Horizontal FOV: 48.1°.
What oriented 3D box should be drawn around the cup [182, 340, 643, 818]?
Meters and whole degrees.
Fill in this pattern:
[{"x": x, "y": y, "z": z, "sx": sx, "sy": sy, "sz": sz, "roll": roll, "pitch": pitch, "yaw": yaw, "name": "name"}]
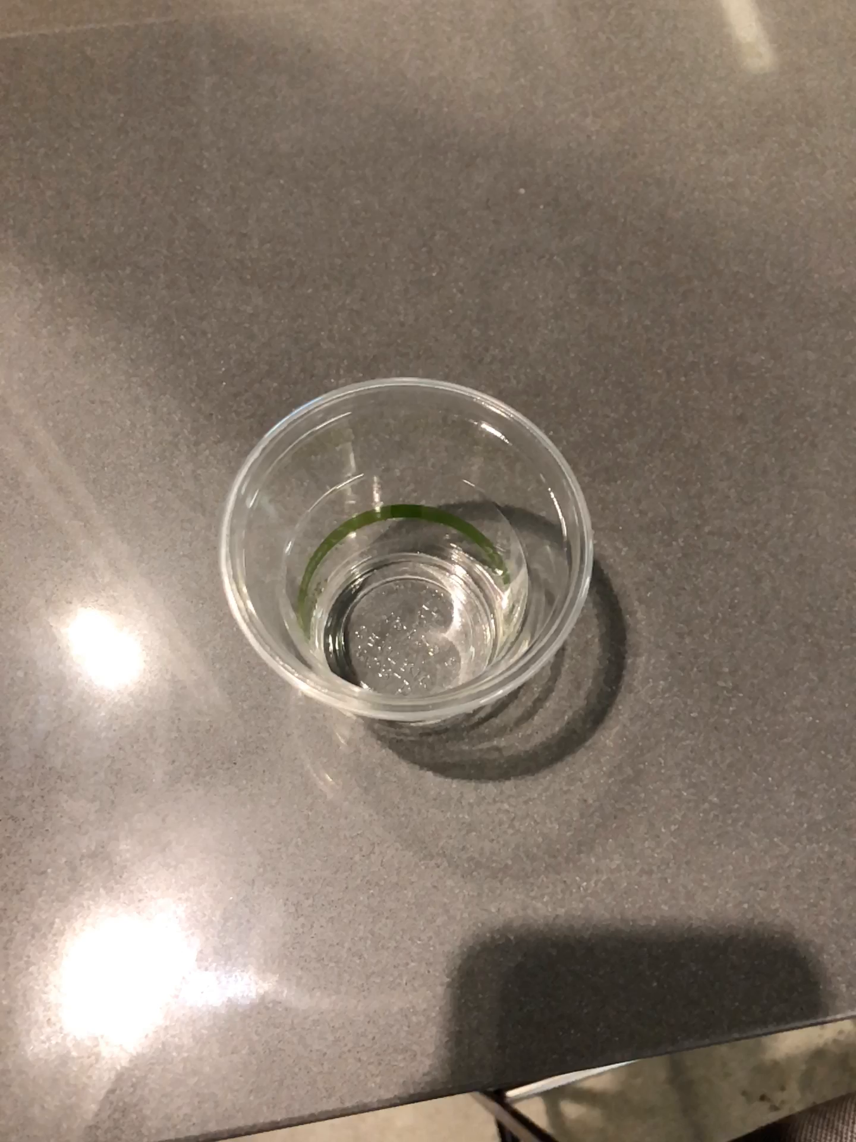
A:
[{"x": -0.001, "y": 0.004, "z": 0.210, "sx": 0.070, "sy": 0.060, "sz": 0.070, "roll": 0, "pitch": 65, "yaw": -1, "name": "cup"}]
